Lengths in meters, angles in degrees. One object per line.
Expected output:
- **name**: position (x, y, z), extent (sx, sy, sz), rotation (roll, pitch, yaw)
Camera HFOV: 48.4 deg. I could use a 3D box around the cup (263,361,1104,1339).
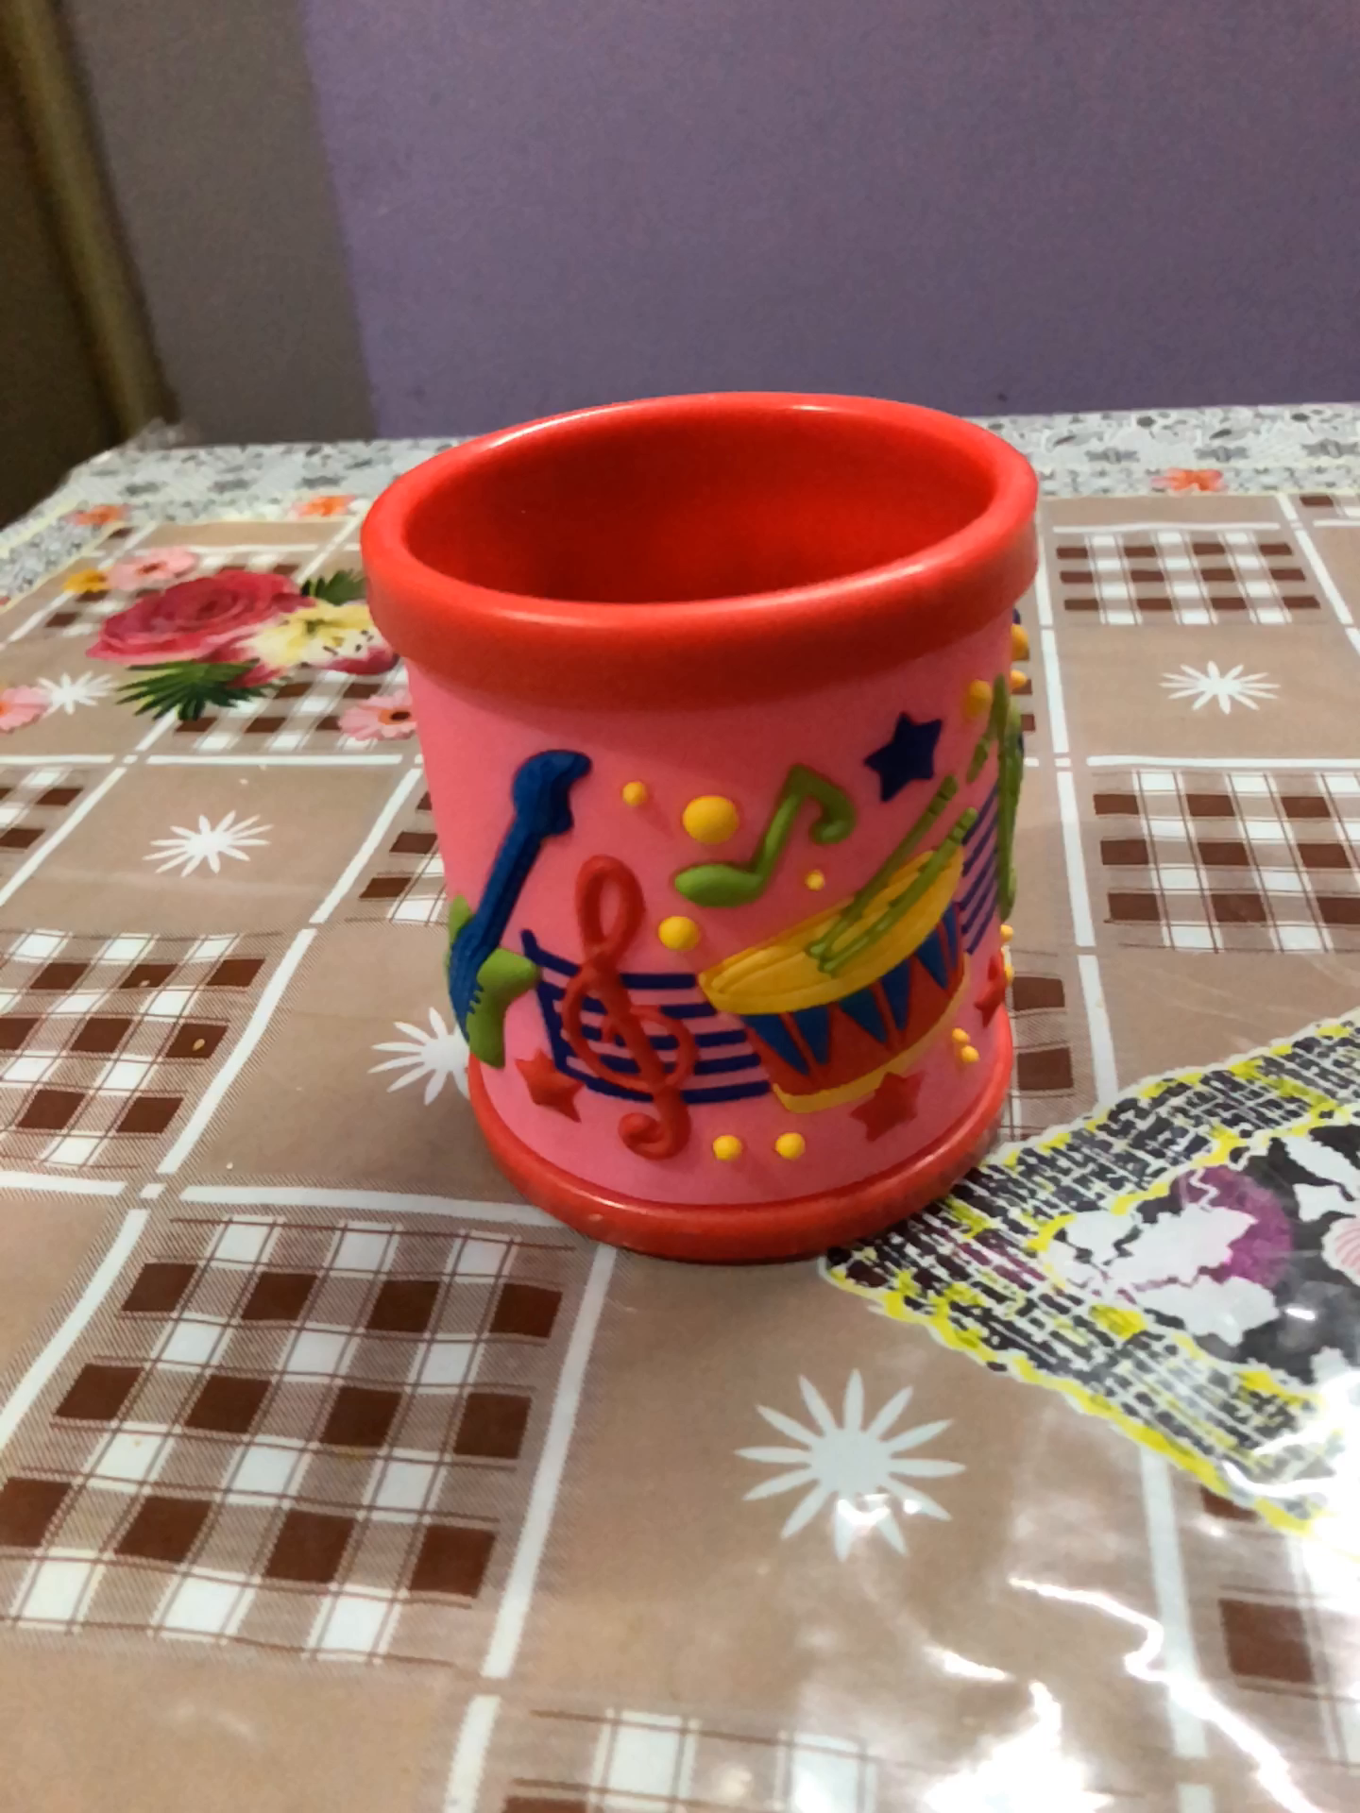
- **cup**: position (0.003, -0.009, 0.204), extent (0.080, 0.099, 0.081), rotation (-3, 33, 2)
